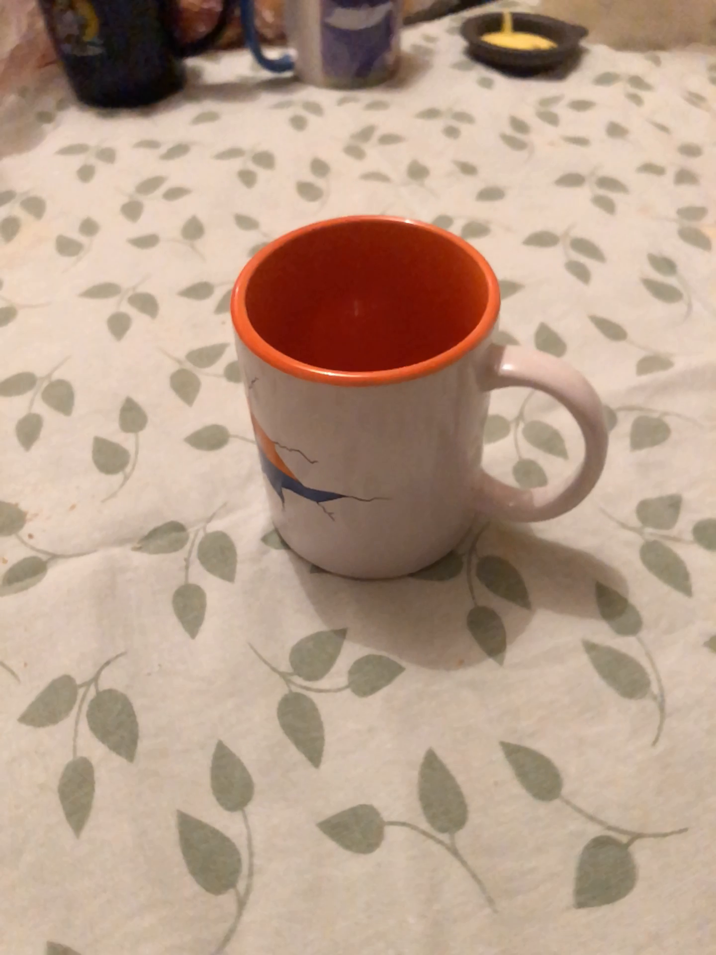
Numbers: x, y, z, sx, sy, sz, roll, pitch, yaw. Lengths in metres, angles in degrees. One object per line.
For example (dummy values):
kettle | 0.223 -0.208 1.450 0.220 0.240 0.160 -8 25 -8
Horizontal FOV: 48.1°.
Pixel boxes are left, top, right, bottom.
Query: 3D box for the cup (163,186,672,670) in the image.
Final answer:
cup | 0.020 -0.018 0.260 0.120 0.099 0.081 18 51 17
